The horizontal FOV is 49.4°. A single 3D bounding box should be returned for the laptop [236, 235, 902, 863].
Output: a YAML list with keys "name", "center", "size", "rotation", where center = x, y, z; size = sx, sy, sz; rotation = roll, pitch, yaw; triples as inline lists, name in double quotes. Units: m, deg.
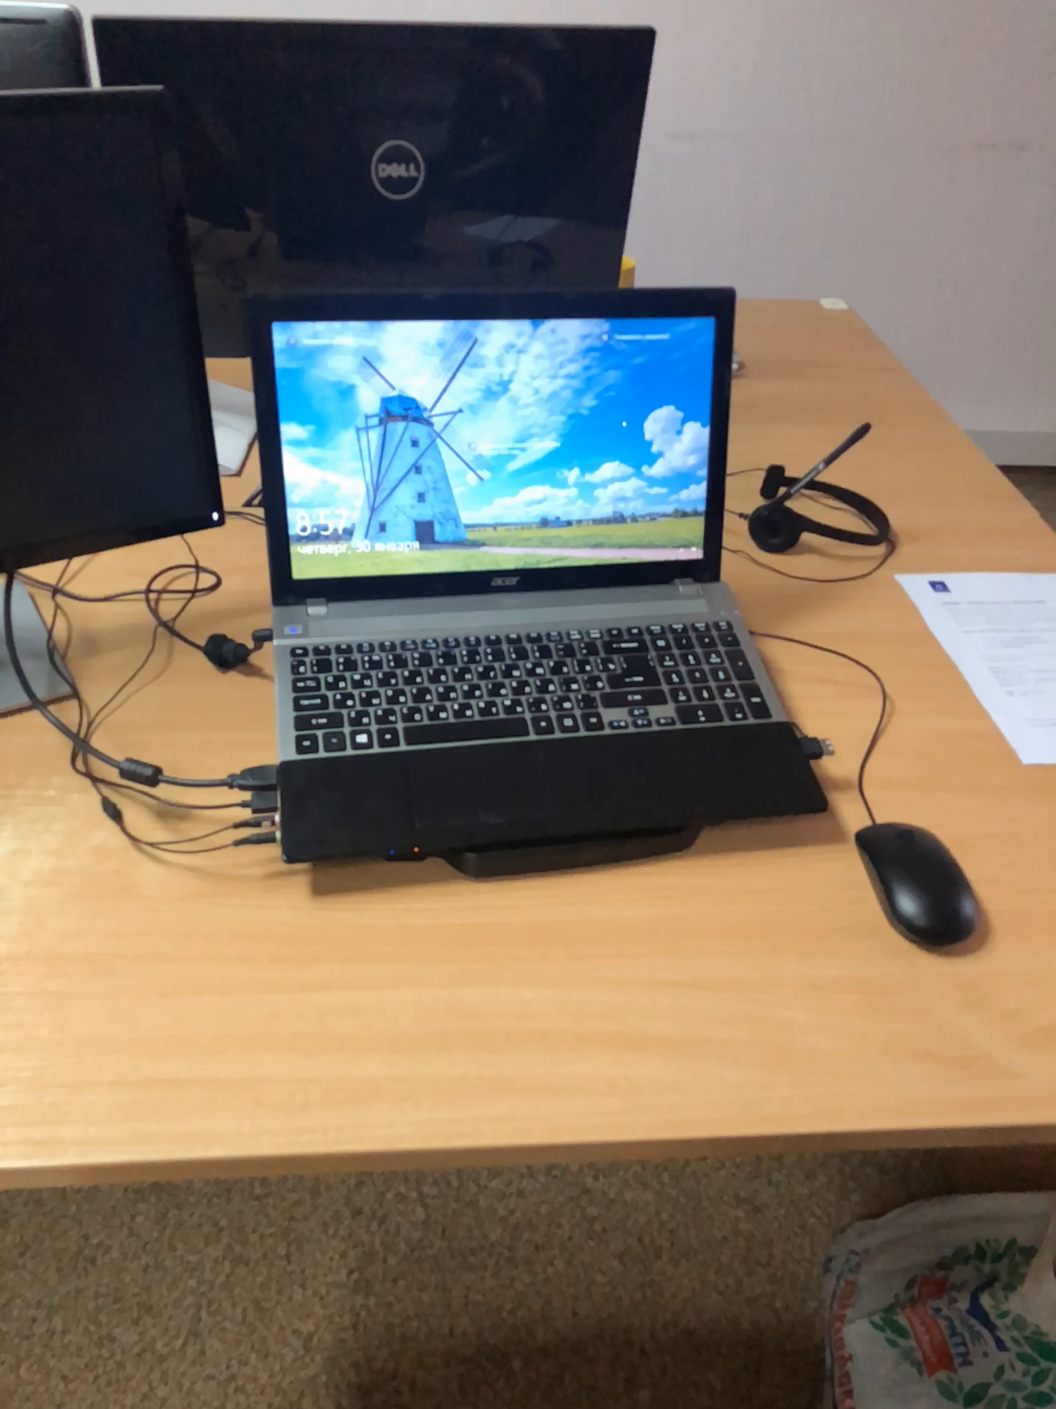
- name: "laptop"
  center: [-0.002, -0.133, 0.820]
  size: [0.374, 0.211, 0.361]
  rotation: [-4, 46, -11]
